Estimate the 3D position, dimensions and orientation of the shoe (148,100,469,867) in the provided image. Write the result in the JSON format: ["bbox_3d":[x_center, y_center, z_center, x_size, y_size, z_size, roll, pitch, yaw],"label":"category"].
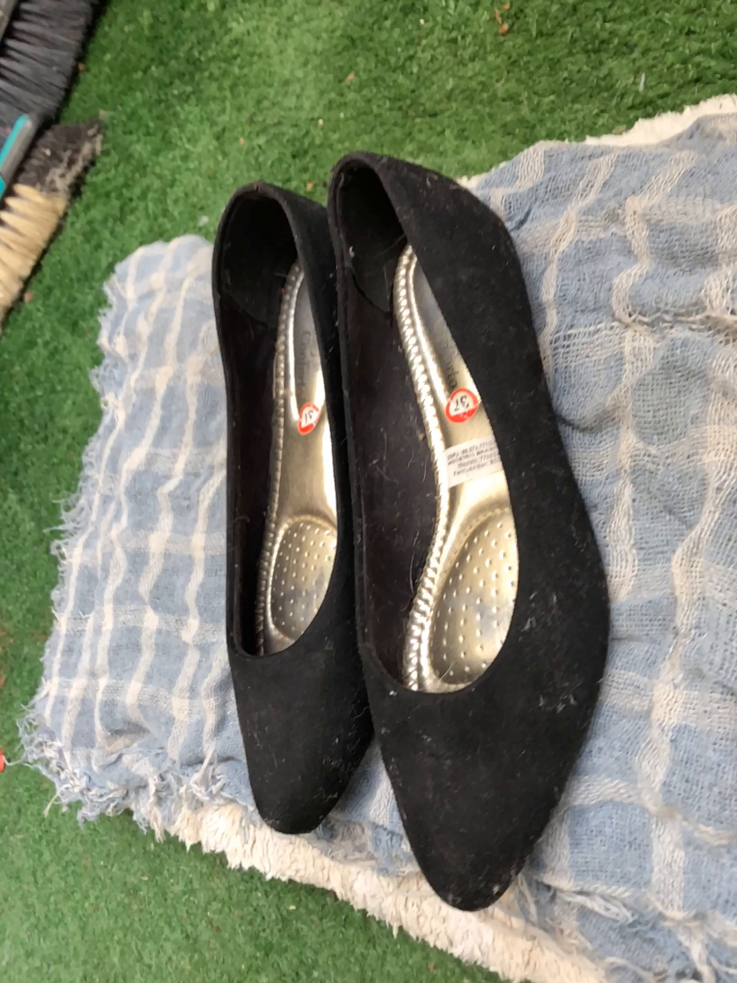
[{"bbox_3d":[-0.021,-0.004,0.338,0.090,0.080,0.270,-10,73,39],"label":"shoe"}]

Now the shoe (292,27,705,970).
[{"bbox_3d":[0.036,-0.003,0.283,0.090,0.080,0.270,-15,70,38],"label":"shoe"}]
